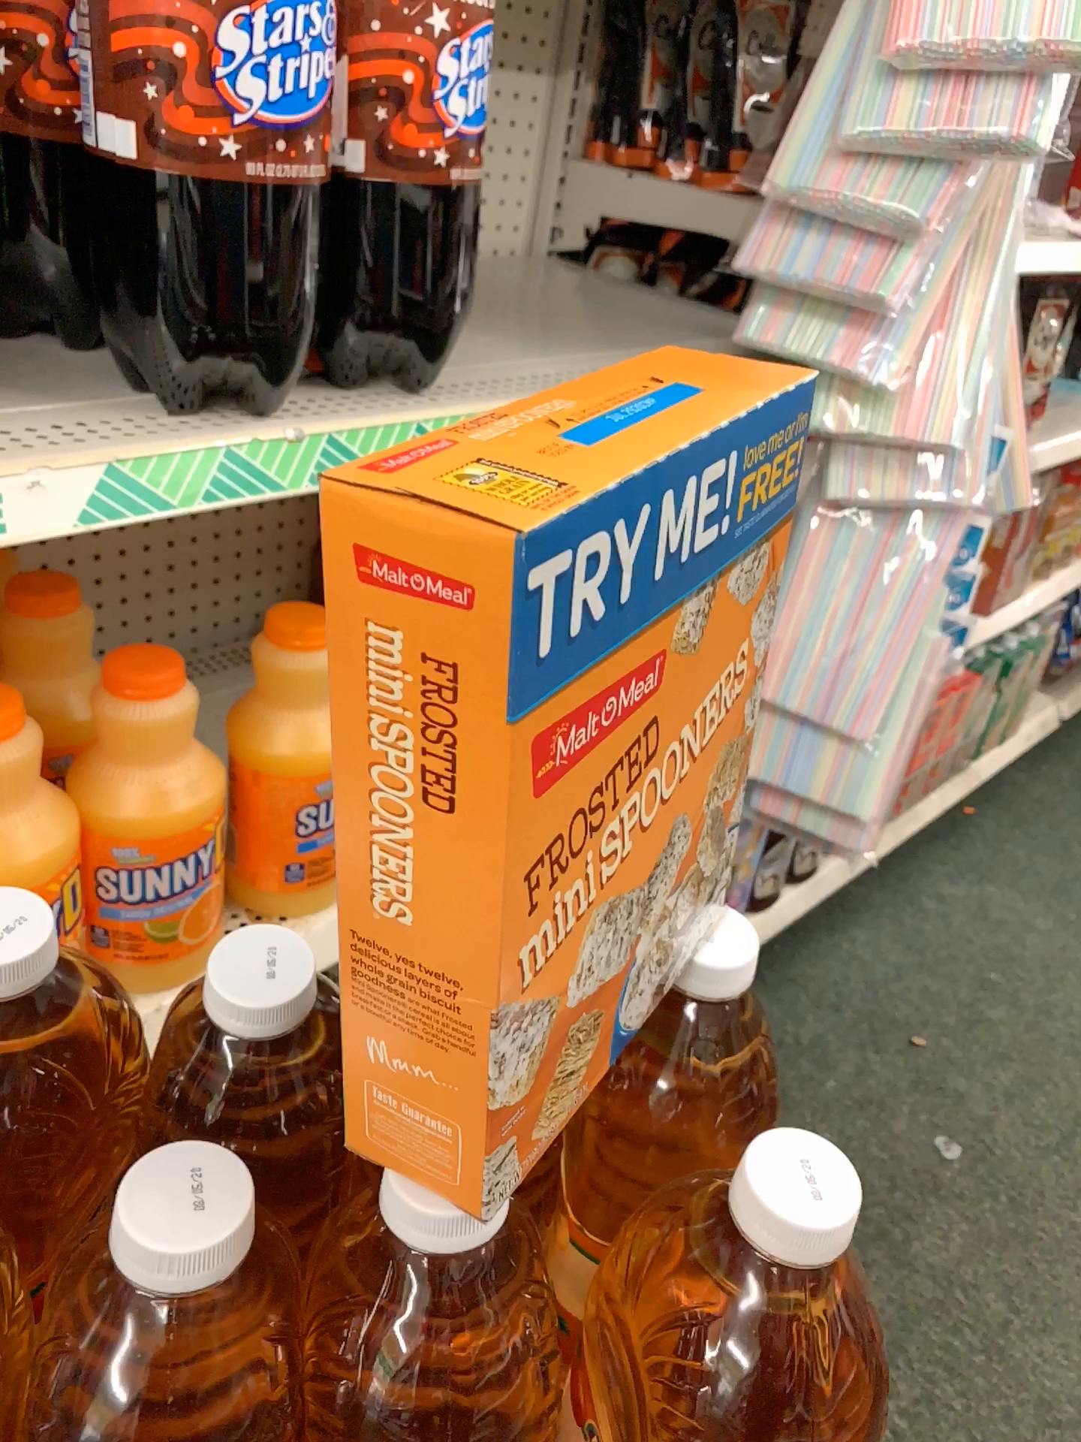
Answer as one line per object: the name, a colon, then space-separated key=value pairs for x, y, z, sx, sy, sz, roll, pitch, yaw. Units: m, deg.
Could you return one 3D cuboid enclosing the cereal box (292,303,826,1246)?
cereal box: x=0.012 y=0.004 z=0.331 sx=0.060 sy=0.219 sz=0.171 roll=17 pitch=30 yaw=24
